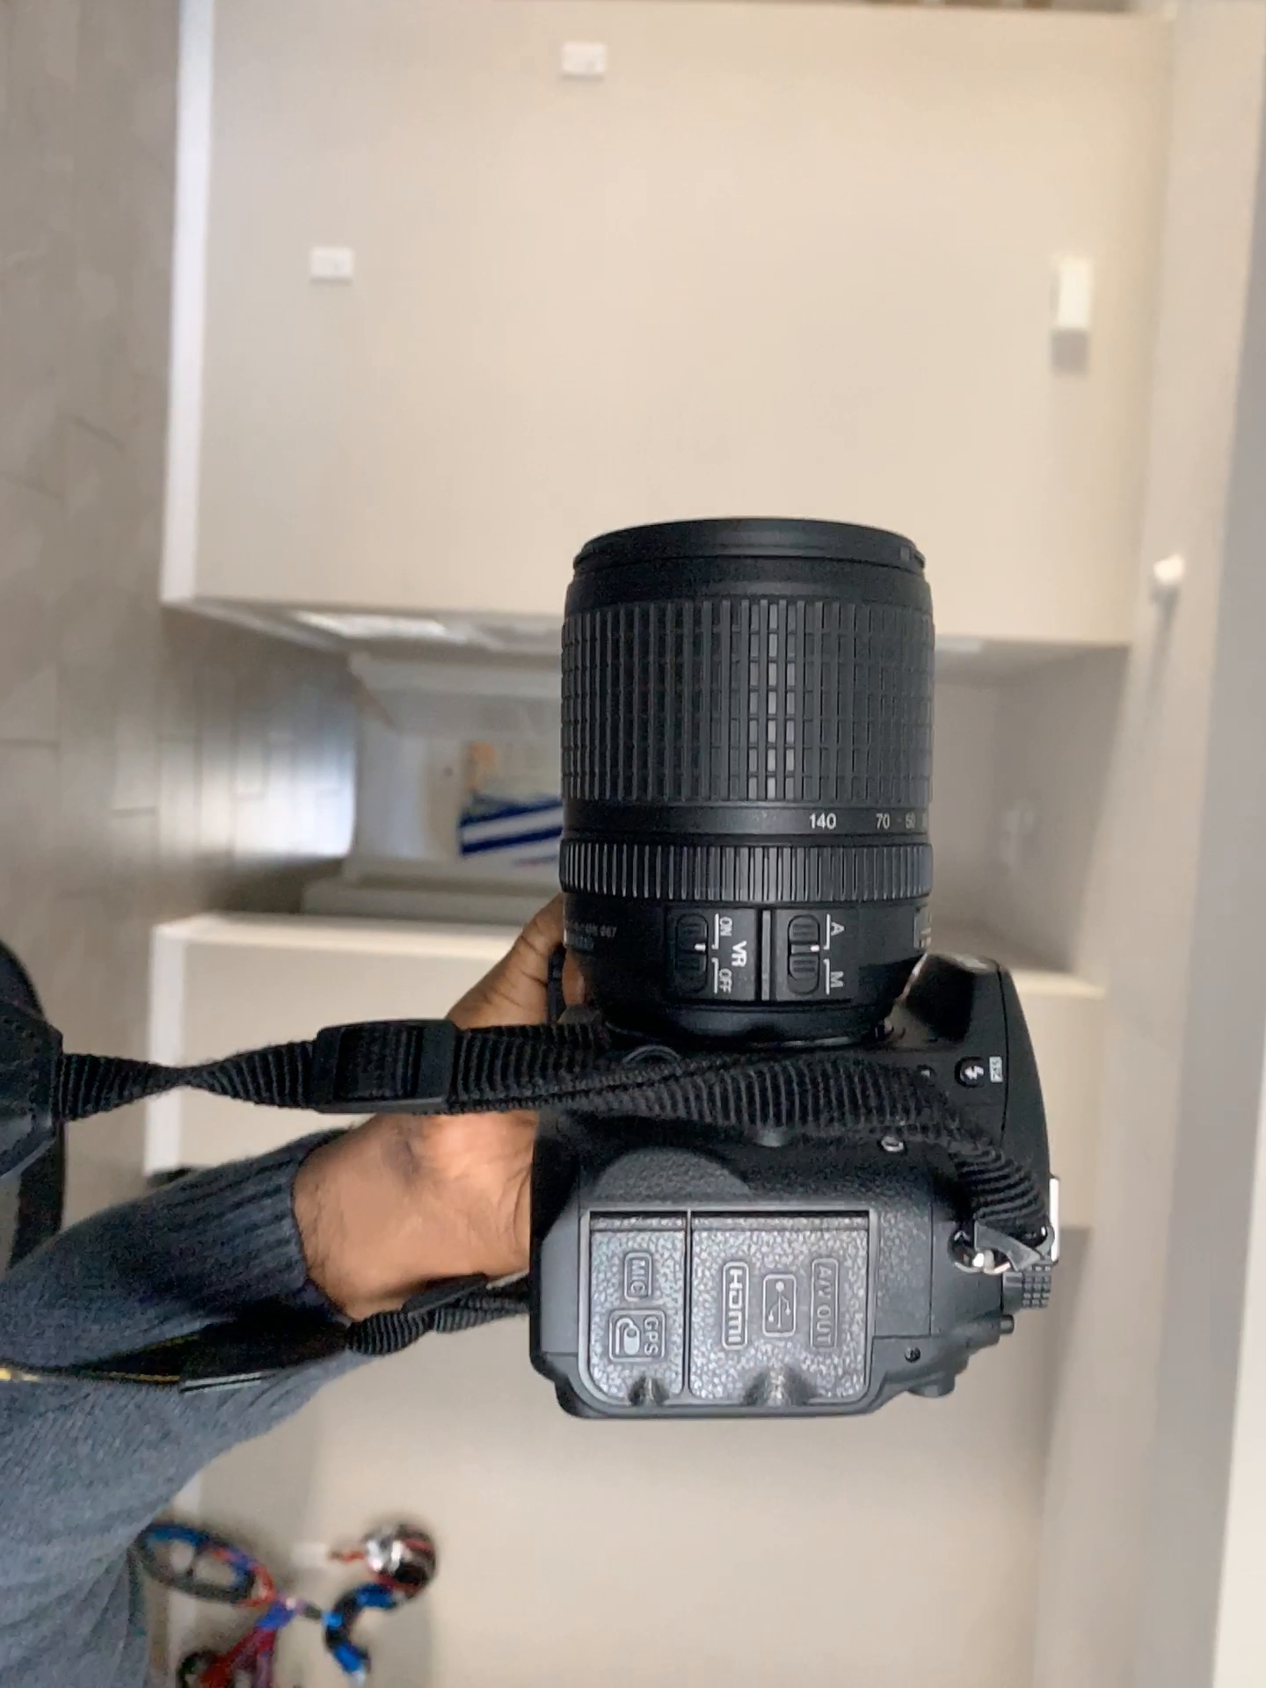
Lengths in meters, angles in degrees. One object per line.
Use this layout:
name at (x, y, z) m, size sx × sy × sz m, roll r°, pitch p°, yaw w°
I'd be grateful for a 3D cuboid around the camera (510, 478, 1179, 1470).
camera at (0.031, 0.018, 0.307) m, size 0.160 × 0.114 × 0.170 m, roll -128°, pitch -141°, yaw -84°
